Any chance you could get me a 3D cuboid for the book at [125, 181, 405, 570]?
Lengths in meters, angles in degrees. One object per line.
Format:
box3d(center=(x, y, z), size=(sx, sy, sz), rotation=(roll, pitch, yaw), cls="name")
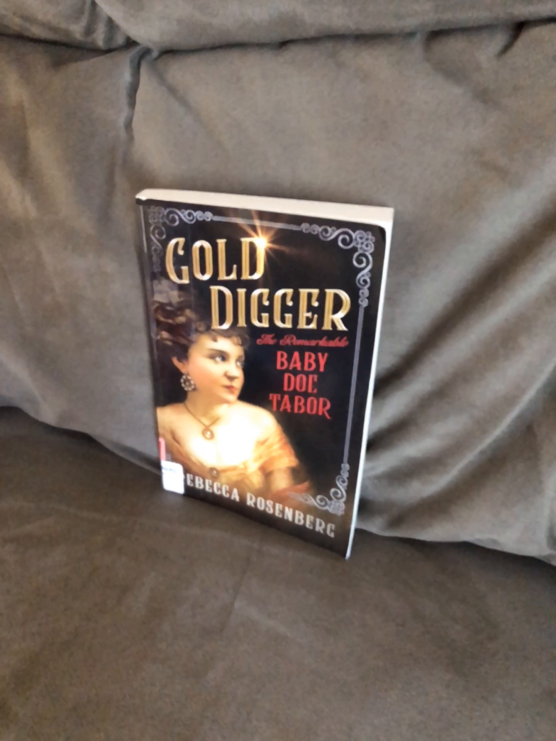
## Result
box3d(center=(-0.016, 0.003, 0.362), size=(0.150, 0.200, 0.030), rotation=(15, 28, 25), cls="book")
